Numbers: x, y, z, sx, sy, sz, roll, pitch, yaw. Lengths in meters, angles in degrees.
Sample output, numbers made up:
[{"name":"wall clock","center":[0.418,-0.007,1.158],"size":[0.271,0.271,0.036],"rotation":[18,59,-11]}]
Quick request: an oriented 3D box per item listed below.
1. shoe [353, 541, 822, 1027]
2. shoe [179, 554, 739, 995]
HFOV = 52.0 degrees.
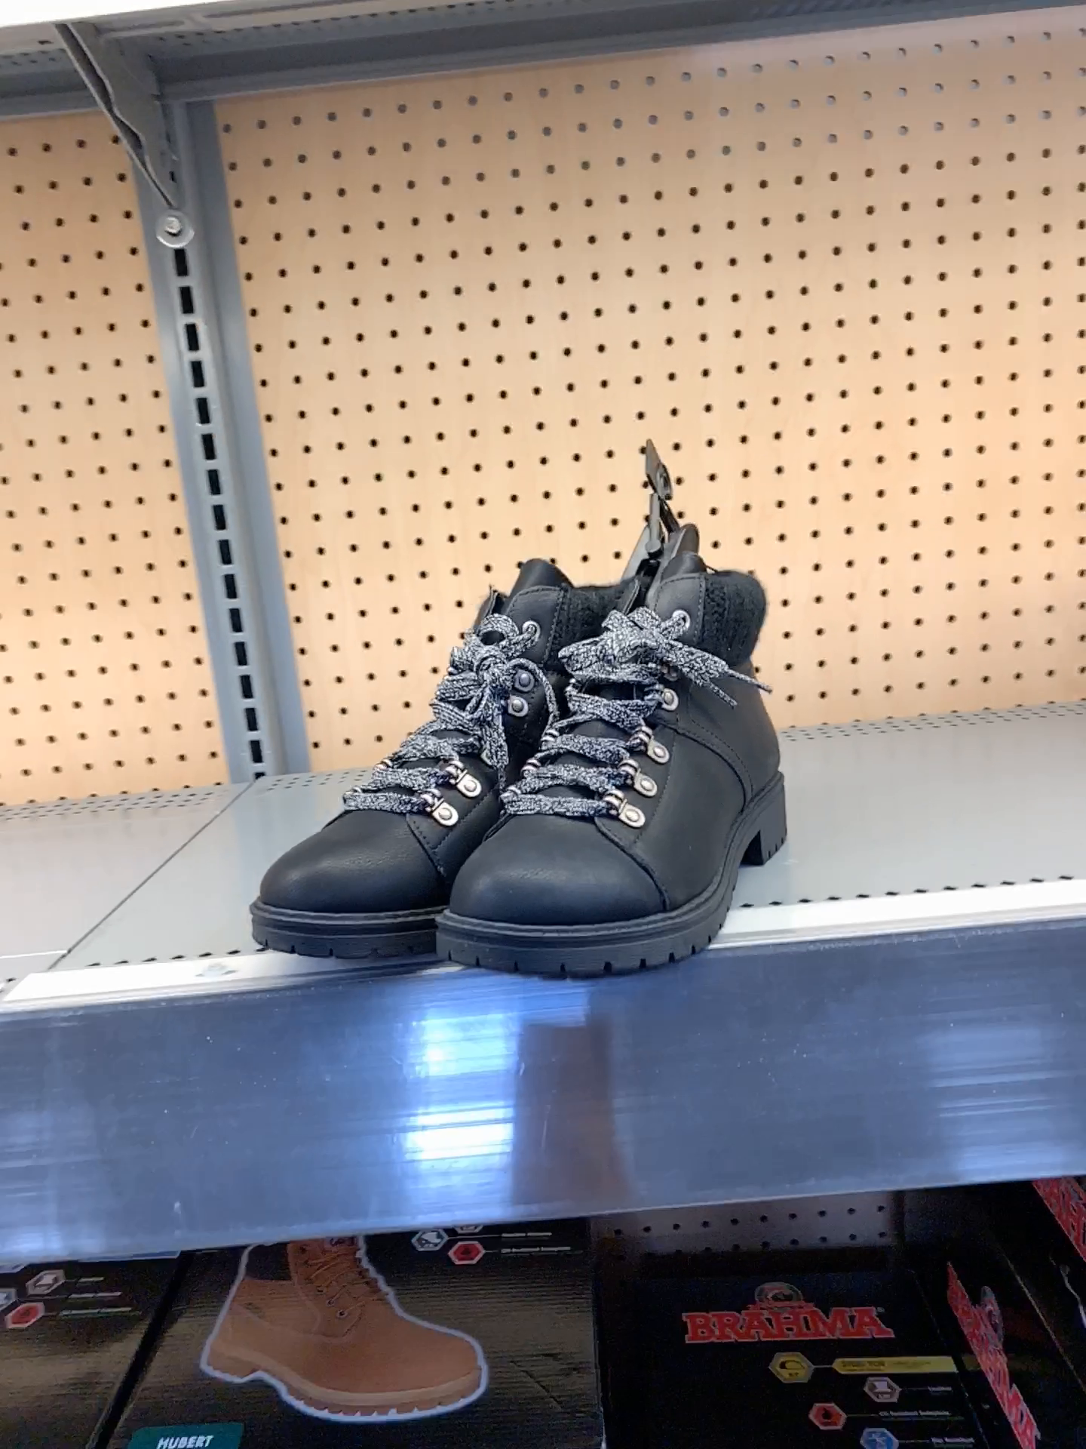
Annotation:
[{"name":"shoe","center":[0.038,0.005,0.472],"size":[0.105,0.137,0.231],"rotation":[0,13,26]},{"name":"shoe","center":[-0.024,0.004,0.516],"size":[0.104,0.137,0.236],"rotation":[6,16,44]}]
